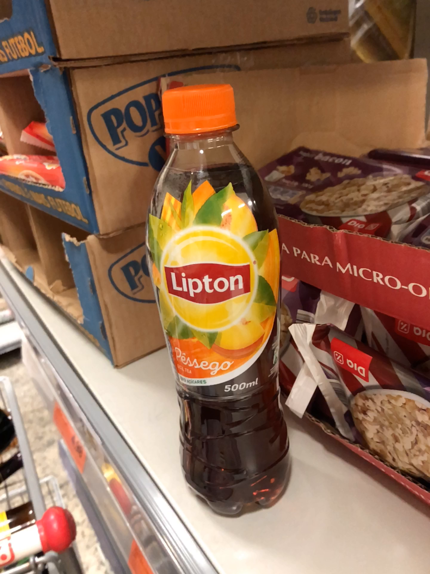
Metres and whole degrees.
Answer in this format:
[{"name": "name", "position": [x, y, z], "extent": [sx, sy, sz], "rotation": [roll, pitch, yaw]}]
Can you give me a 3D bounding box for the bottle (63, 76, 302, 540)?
[{"name": "bottle", "position": [0.001, 0.021, 0.240], "extent": [0.070, 0.218, 0.071], "rotation": [-7, 27, 4]}]
